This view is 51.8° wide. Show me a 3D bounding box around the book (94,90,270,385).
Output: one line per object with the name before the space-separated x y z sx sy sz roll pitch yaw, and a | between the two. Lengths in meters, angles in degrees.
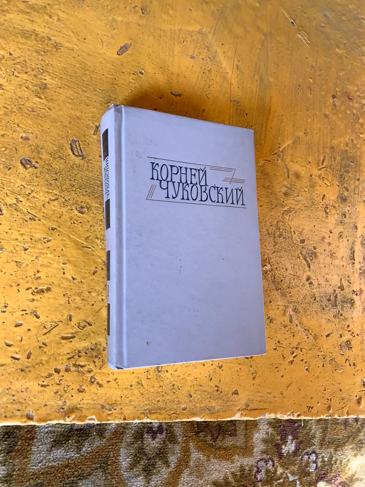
book | 0.000 -0.007 0.313 0.139 0.031 0.216 1 82 -24
